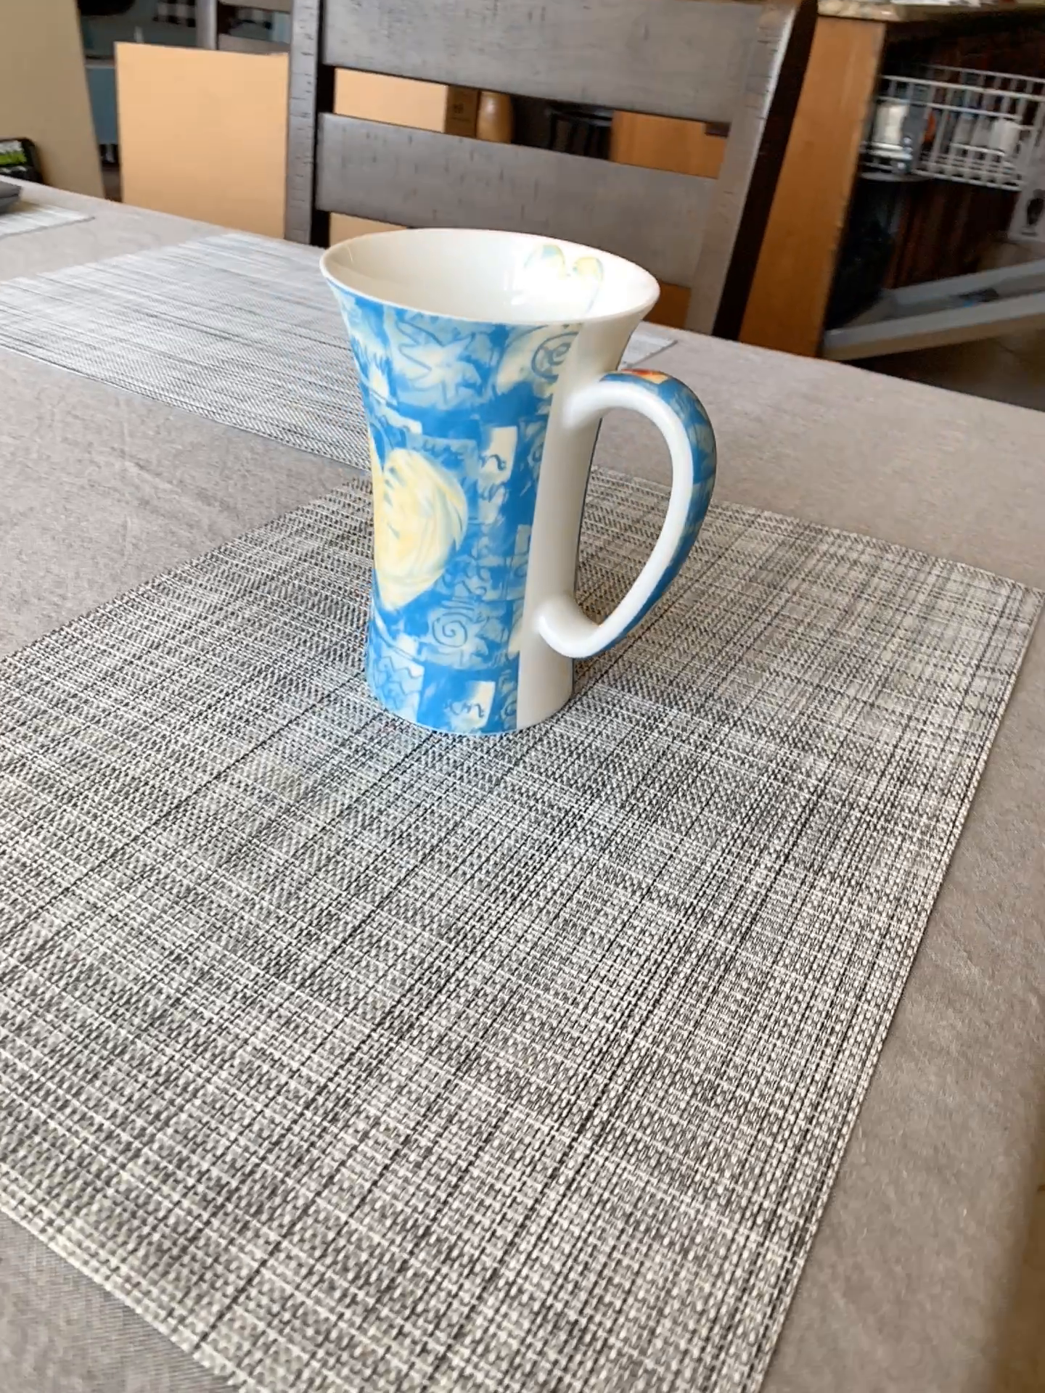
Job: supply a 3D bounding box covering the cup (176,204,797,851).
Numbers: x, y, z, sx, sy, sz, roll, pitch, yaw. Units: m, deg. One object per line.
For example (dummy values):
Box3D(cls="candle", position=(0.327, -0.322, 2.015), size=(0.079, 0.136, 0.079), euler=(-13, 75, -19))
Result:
Box3D(cls="cup", position=(-0.016, -0.064, 0.356), size=(0.153, 0.148, 0.100), euler=(25, 39, 27))
